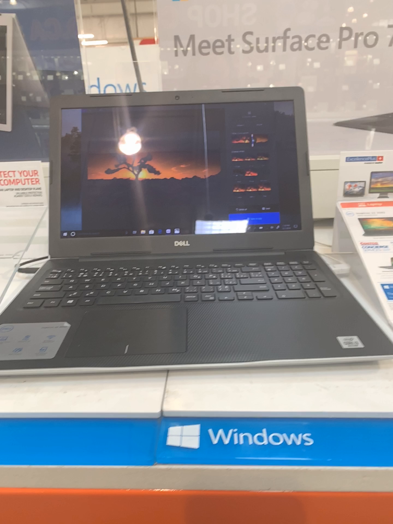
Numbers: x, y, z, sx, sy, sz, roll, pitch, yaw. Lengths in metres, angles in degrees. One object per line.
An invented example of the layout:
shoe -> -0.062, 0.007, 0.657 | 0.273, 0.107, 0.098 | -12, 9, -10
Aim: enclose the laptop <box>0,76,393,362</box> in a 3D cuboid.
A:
laptop -> -0.014, -0.081, 0.453 | 0.357, 0.205, 0.343 | -2, 21, -1
